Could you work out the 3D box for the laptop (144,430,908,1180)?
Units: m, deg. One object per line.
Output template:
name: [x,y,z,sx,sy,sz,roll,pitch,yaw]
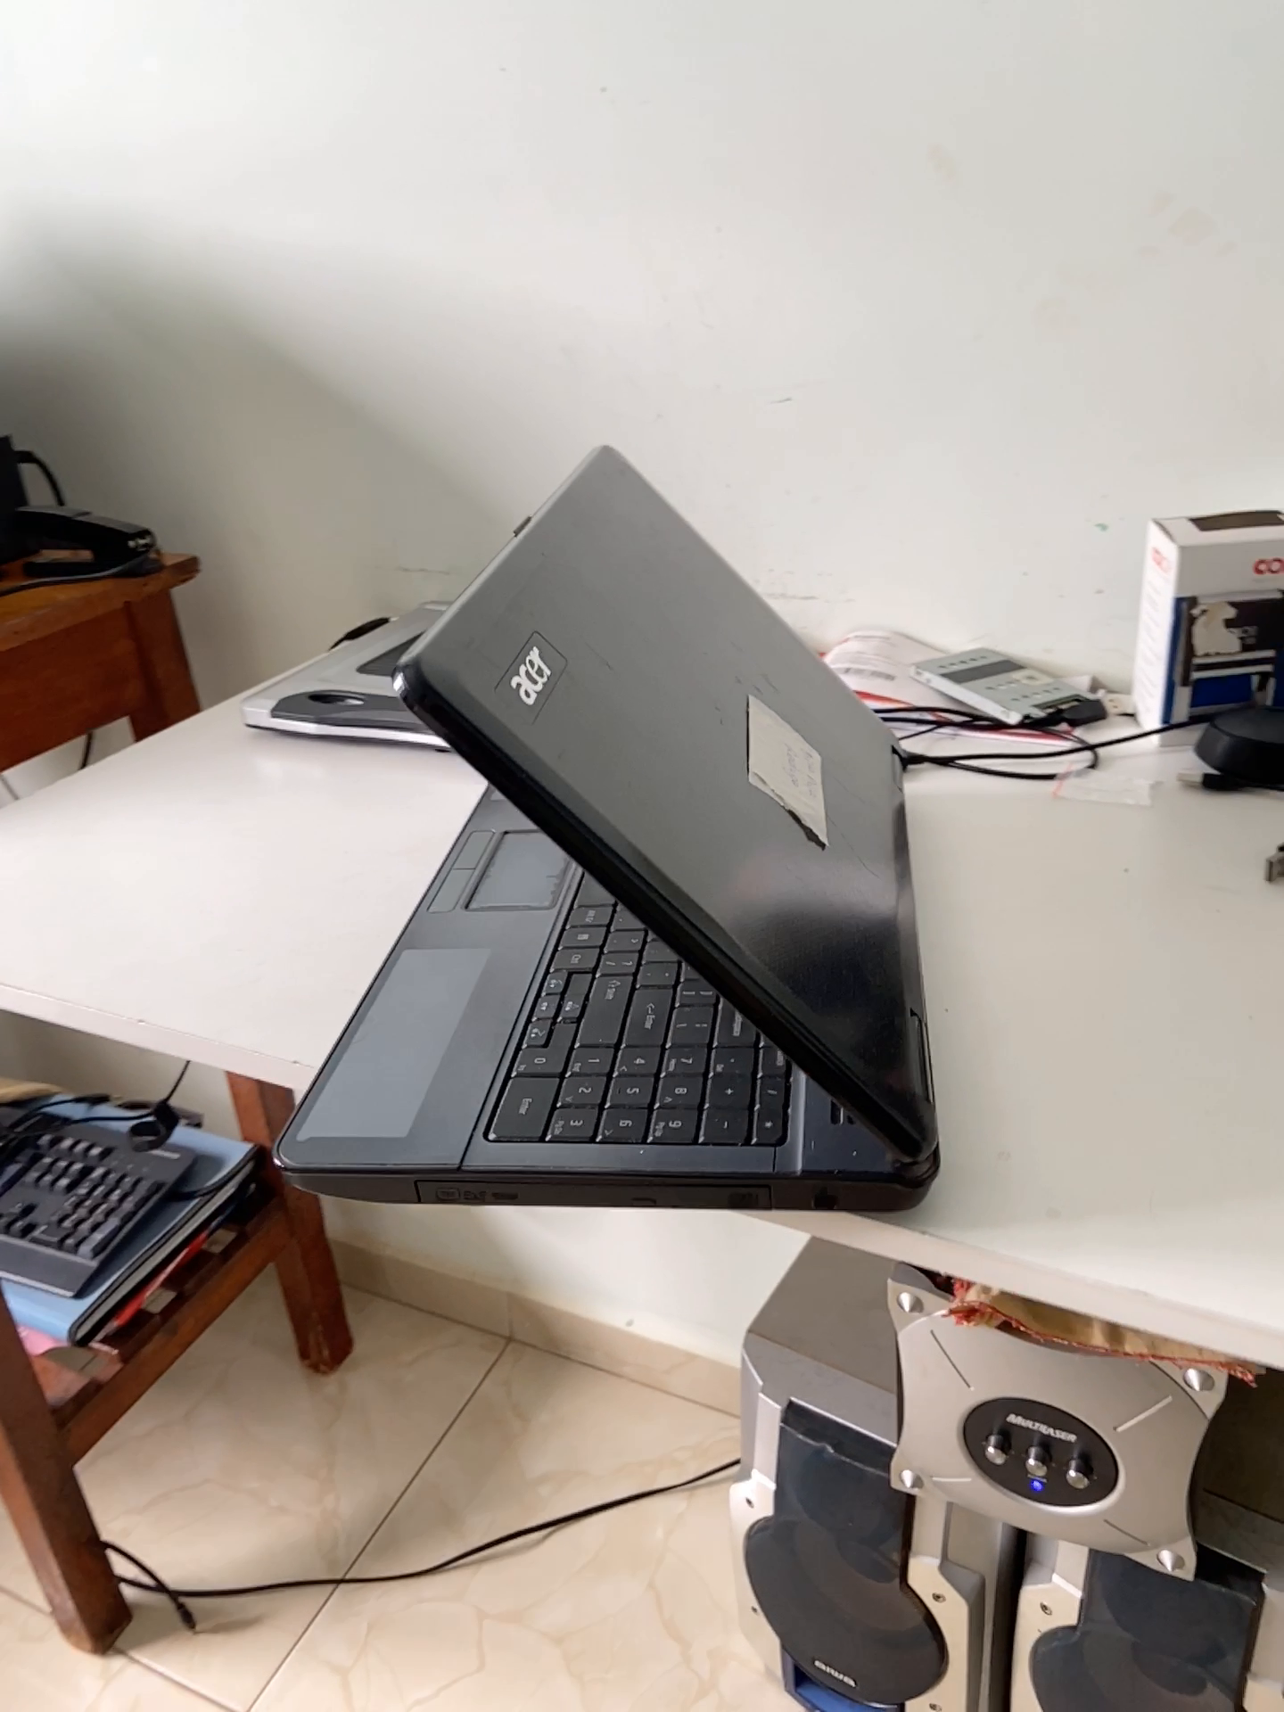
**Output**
laptop: [-0.007,-0.054,0.590,0.232,0.183,0.368,-1,27,10]
